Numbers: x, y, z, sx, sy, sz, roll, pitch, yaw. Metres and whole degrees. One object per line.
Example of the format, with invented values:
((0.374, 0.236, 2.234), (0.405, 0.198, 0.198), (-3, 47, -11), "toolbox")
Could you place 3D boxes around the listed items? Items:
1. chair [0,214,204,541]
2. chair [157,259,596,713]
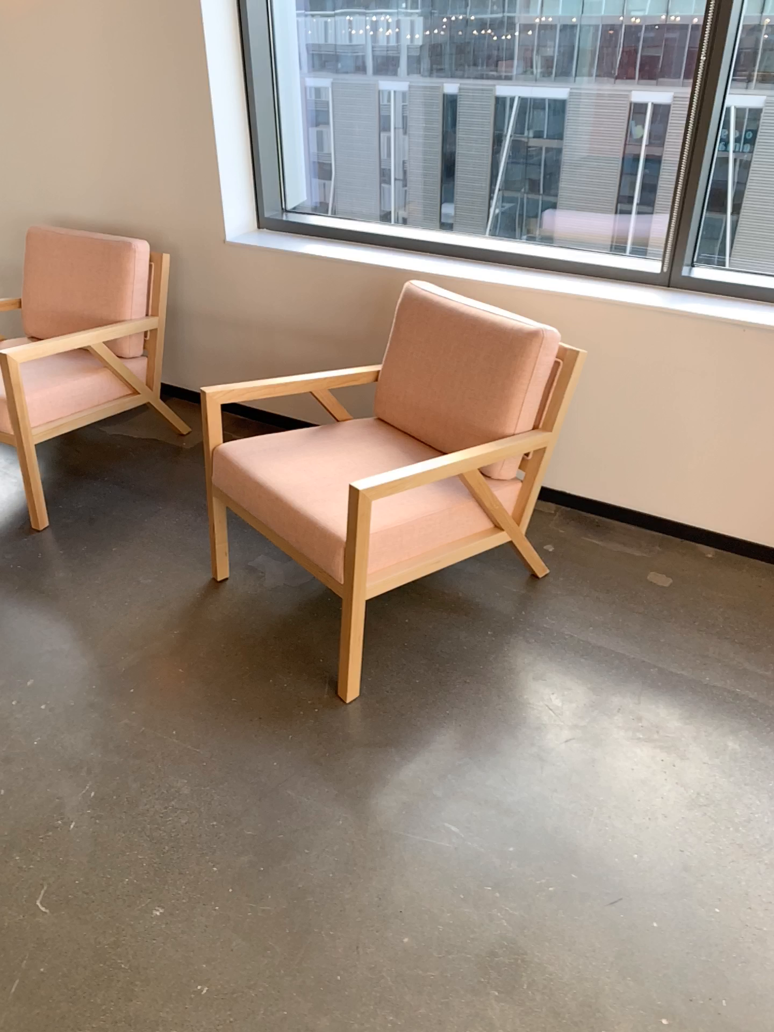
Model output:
((-1.239, -0.536, 2.792), (0.742, 0.795, 0.773), (17, 36, 26), "chair")
((-0.040, -0.152, 2.120), (0.771, 0.795, 0.744), (-22, 38, -33), "chair")
